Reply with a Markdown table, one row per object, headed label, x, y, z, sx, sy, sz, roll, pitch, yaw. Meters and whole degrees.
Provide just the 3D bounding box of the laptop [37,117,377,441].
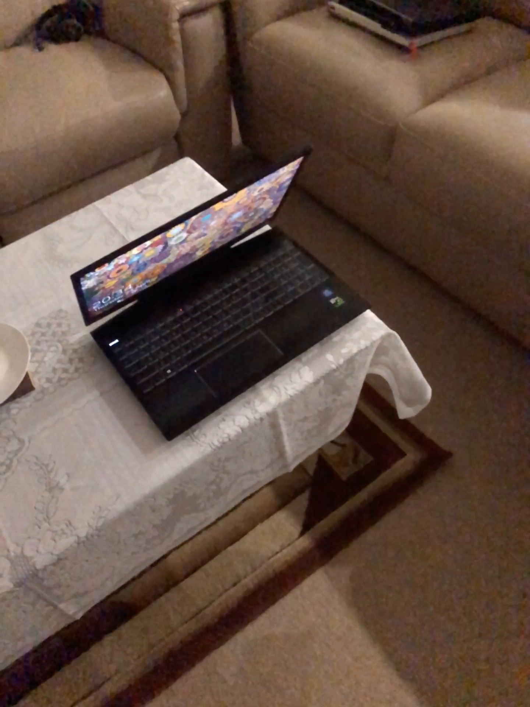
| label | x | y | z | sx | sy | sz | roll | pitch | yaw |
| --- | --- | --- | --- | --- | --- | --- | --- | --- | --- |
| laptop | -0.065 | -0.114 | 0.798 | 0.355 | 0.199 | 0.243 | -33 | 56 | -17 |
